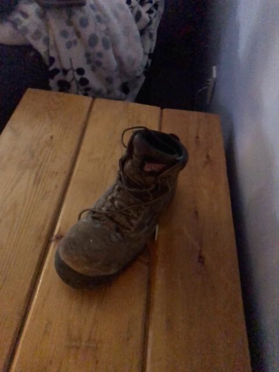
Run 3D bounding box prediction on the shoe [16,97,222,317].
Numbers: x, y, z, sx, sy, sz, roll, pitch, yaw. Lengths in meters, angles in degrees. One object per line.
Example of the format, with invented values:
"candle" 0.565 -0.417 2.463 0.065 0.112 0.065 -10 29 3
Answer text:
"shoe" -0.011 0.012 0.460 0.130 0.130 0.290 29 53 17
